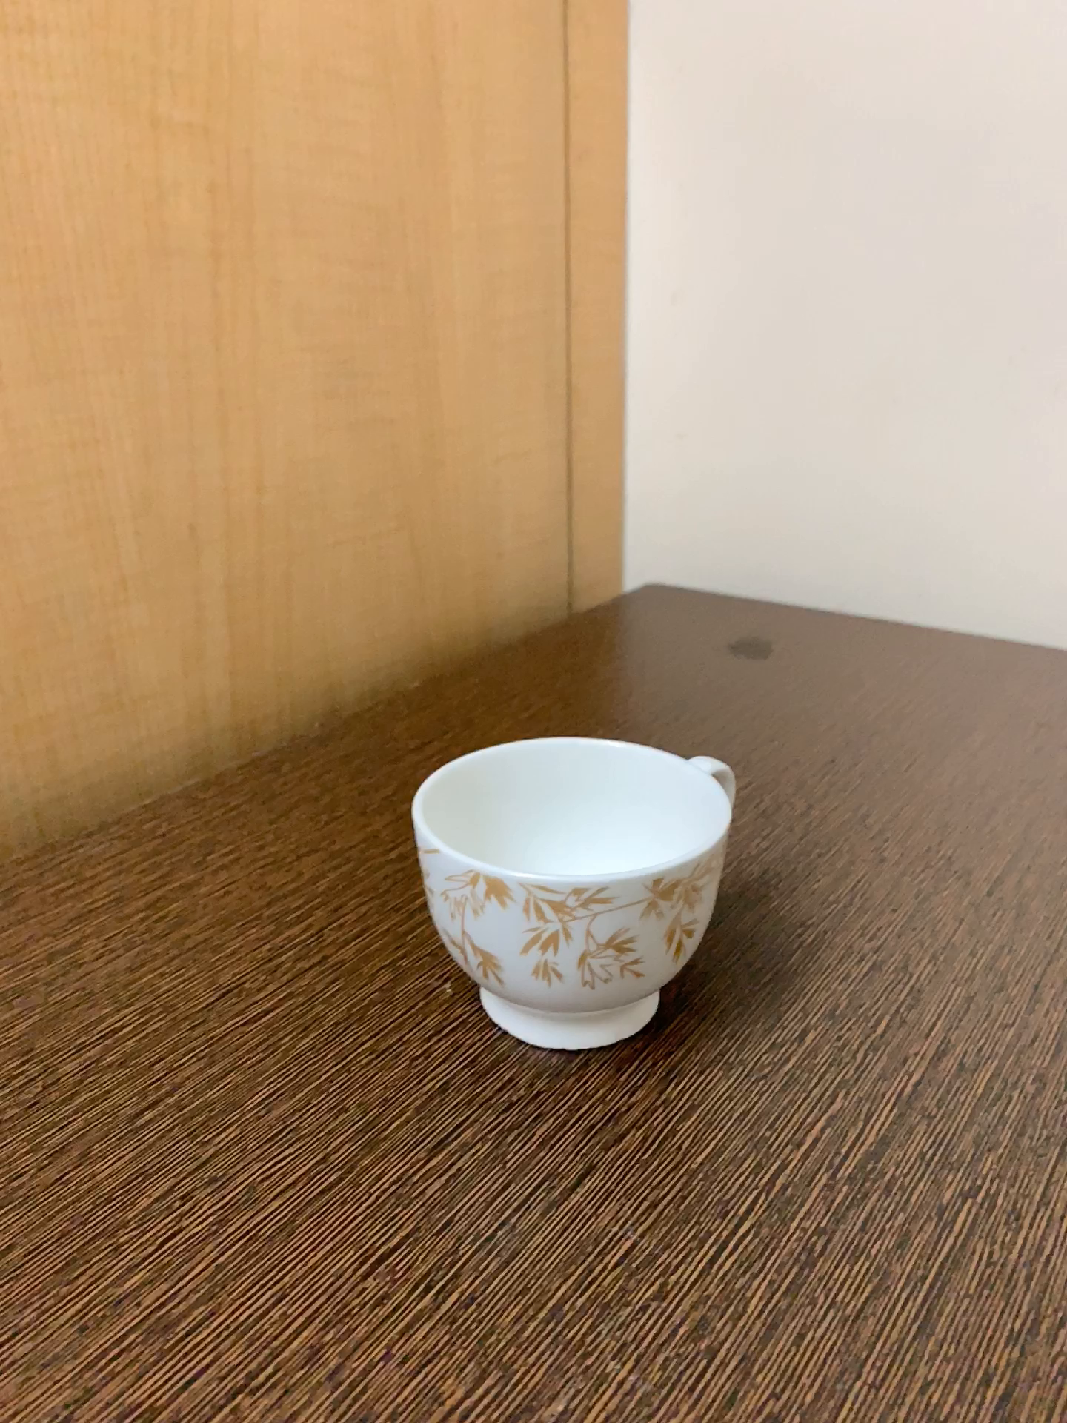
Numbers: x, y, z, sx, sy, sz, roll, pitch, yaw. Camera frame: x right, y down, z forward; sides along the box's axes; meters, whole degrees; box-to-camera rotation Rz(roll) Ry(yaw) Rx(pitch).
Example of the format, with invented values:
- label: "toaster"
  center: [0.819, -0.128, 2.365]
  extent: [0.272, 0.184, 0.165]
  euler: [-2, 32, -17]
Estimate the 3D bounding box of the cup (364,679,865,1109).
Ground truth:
- label: "cup"
  center: [0.023, 0.037, 0.285]
  extent: [0.080, 0.050, 0.100]
  euler: [16, 27, 38]
